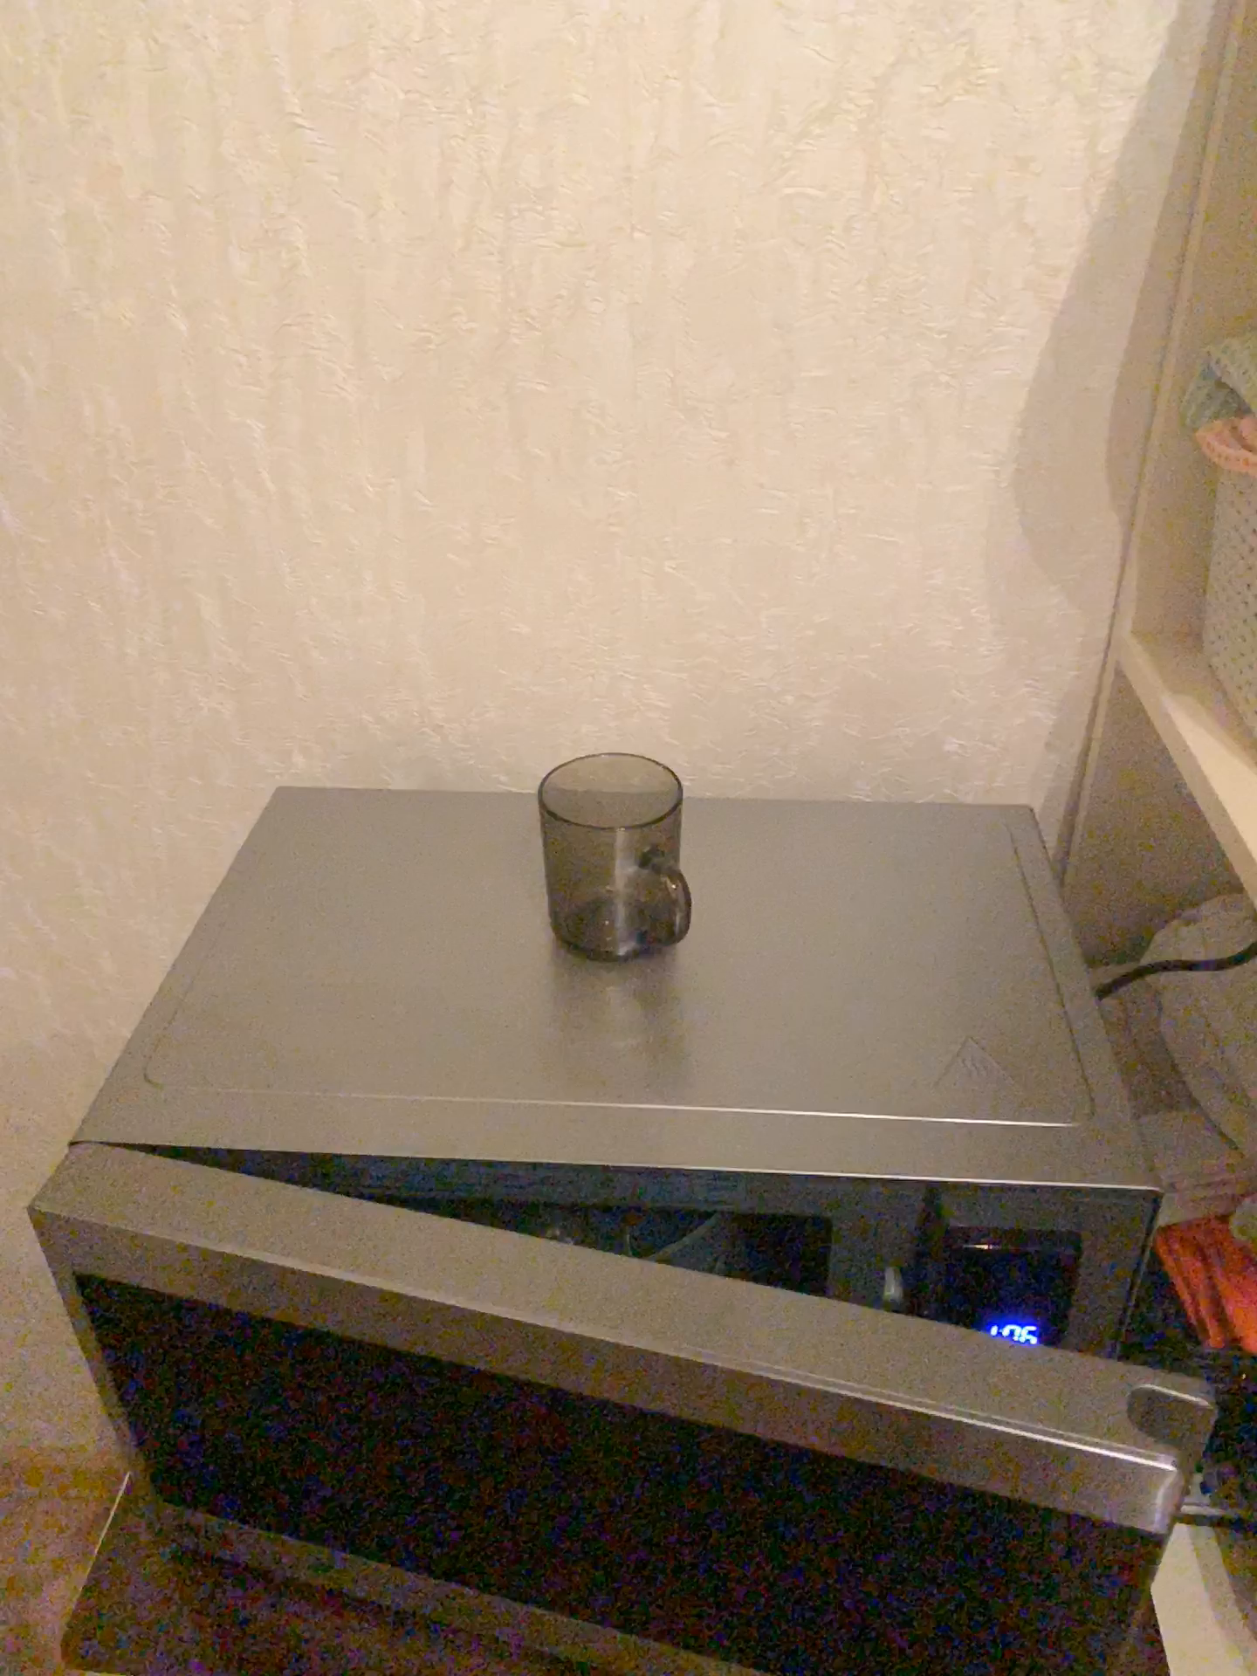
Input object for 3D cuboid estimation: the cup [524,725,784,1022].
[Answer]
[{"bbox_3d":[0.013,0.015,0.647,0.078,0.094,0.102,-29,41,-35],"label":"cup"}]
